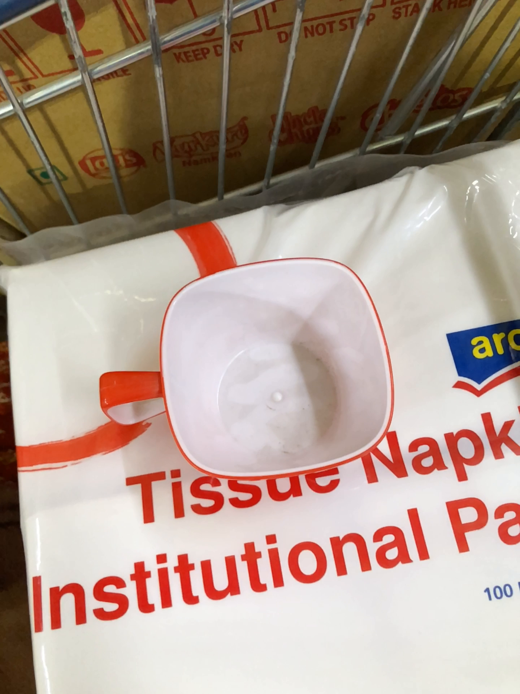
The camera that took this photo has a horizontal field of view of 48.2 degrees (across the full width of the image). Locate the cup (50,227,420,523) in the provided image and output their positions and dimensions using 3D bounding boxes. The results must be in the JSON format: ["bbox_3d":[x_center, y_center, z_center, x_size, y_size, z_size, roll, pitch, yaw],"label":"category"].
[{"bbox_3d":[-0.012,0.013,0.238,0.120,0.060,0.090,-9,77,-6],"label":"cup"}]
